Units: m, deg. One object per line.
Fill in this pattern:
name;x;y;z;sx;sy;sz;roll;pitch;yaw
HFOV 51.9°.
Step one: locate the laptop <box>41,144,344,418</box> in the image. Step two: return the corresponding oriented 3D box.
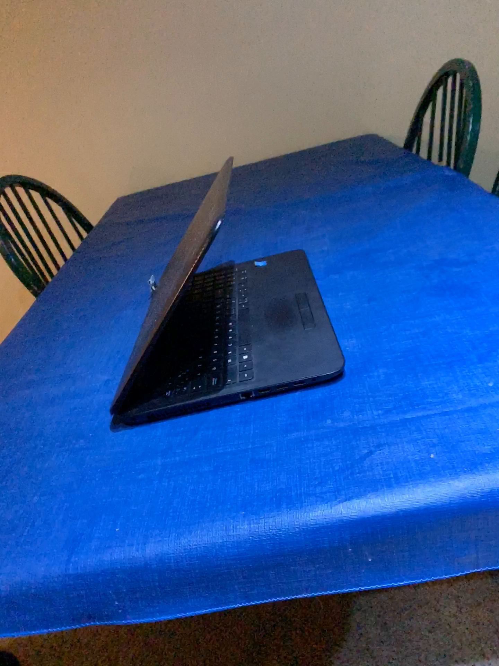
laptop;-0.050;-0.098;0.656;0.251;0.167;0.373;-12;27;5
